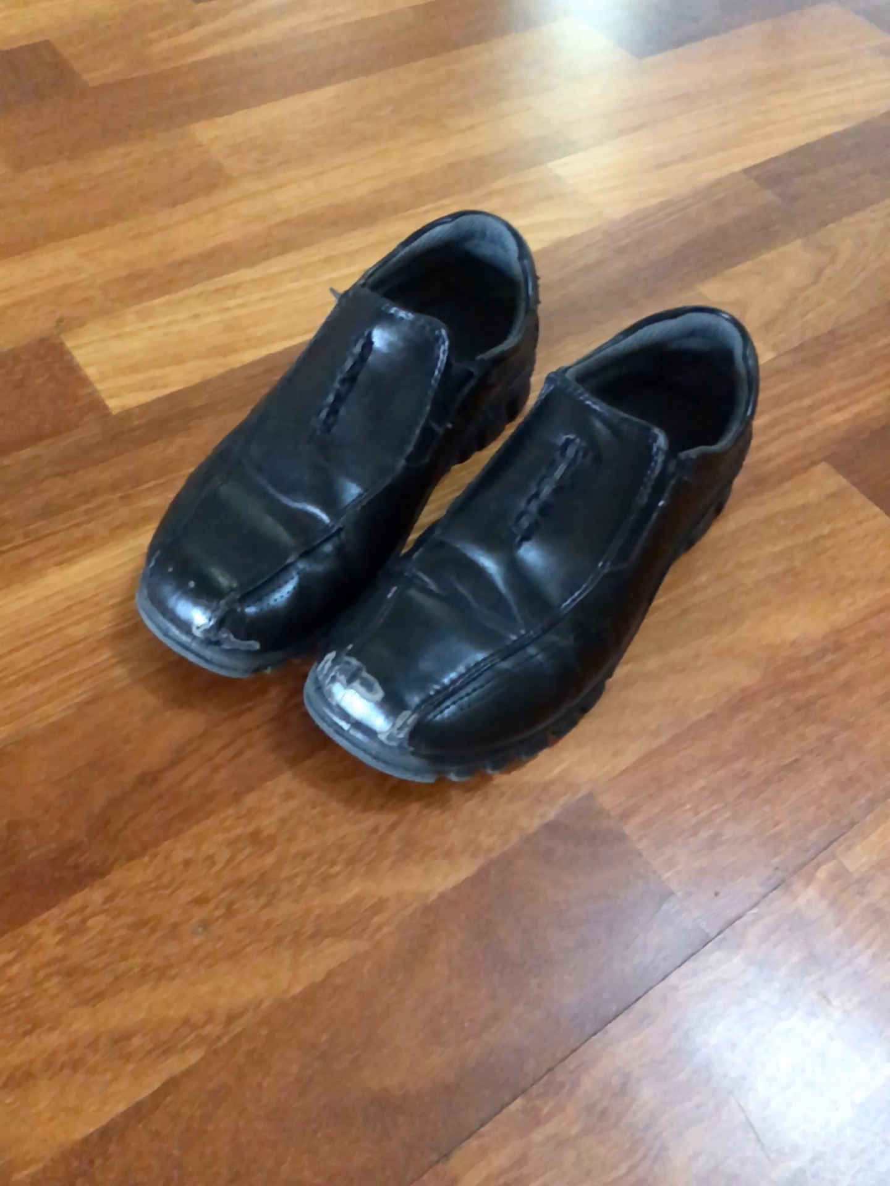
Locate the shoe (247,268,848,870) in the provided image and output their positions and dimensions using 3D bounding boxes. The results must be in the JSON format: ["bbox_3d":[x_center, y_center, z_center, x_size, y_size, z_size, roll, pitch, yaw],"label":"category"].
[{"bbox_3d":[0.045,-0.022,0.374,0.091,0.075,0.233,37,59,19],"label":"shoe"}]

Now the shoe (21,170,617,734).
[{"bbox_3d":[-0.036,-0.069,0.396,0.094,0.075,0.233,32,58,16],"label":"shoe"}]
